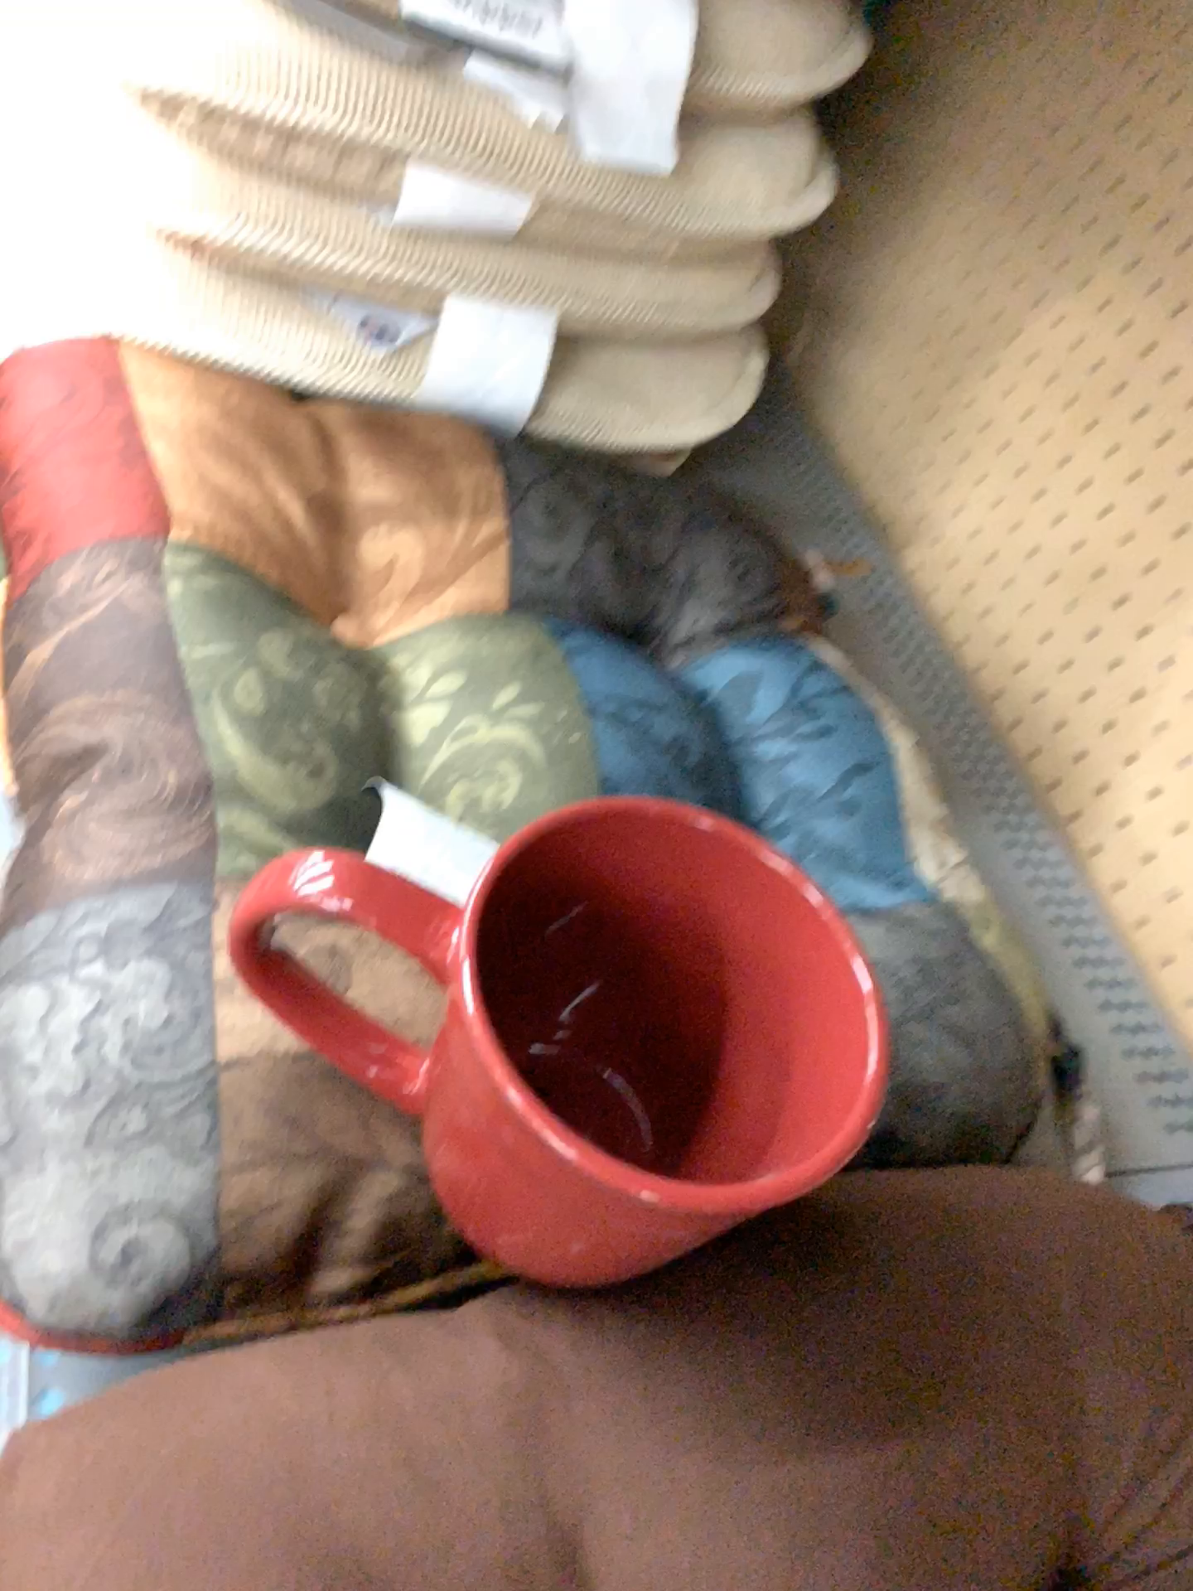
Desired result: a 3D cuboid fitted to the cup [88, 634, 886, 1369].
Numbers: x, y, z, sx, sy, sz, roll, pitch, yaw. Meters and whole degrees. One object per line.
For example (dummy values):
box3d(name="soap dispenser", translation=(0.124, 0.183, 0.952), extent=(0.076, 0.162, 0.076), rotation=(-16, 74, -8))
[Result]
box3d(name="cup", translation=(-0.023, 0.051, 0.287), extent=(0.150, 0.090, 0.100), rotation=(19, 49, -7))
